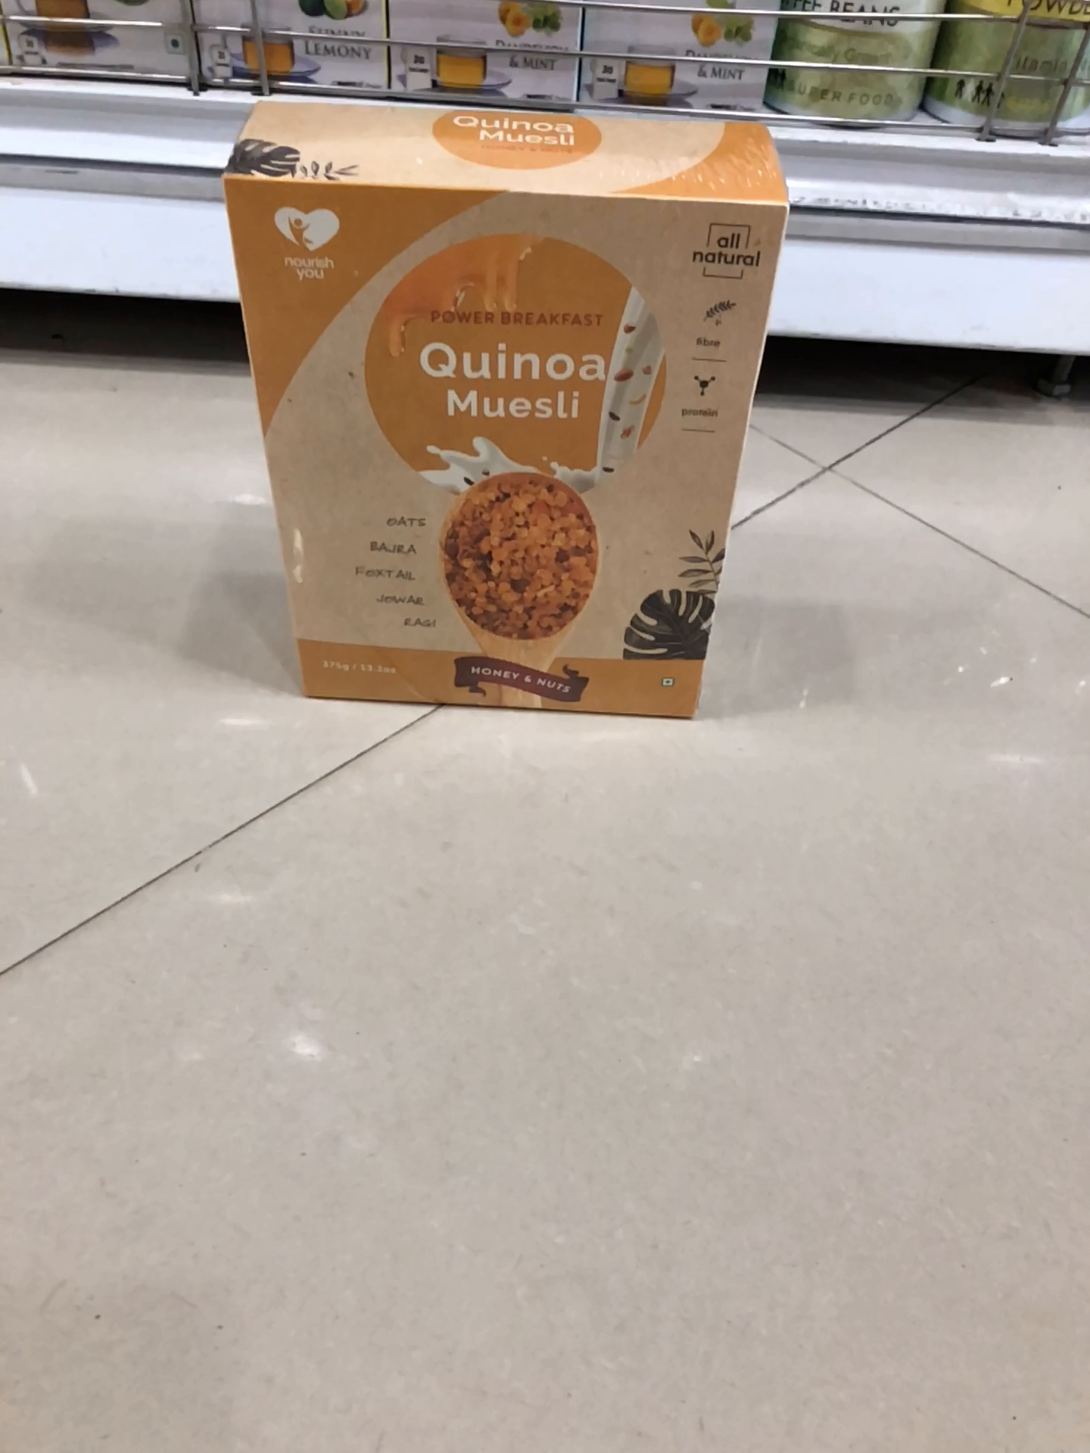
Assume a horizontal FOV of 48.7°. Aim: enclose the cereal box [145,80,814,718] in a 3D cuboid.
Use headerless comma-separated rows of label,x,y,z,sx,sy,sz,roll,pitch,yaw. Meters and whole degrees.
cereal box,-0.017,-0.095,0.400,0.170,0.199,0.060,2,48,0
